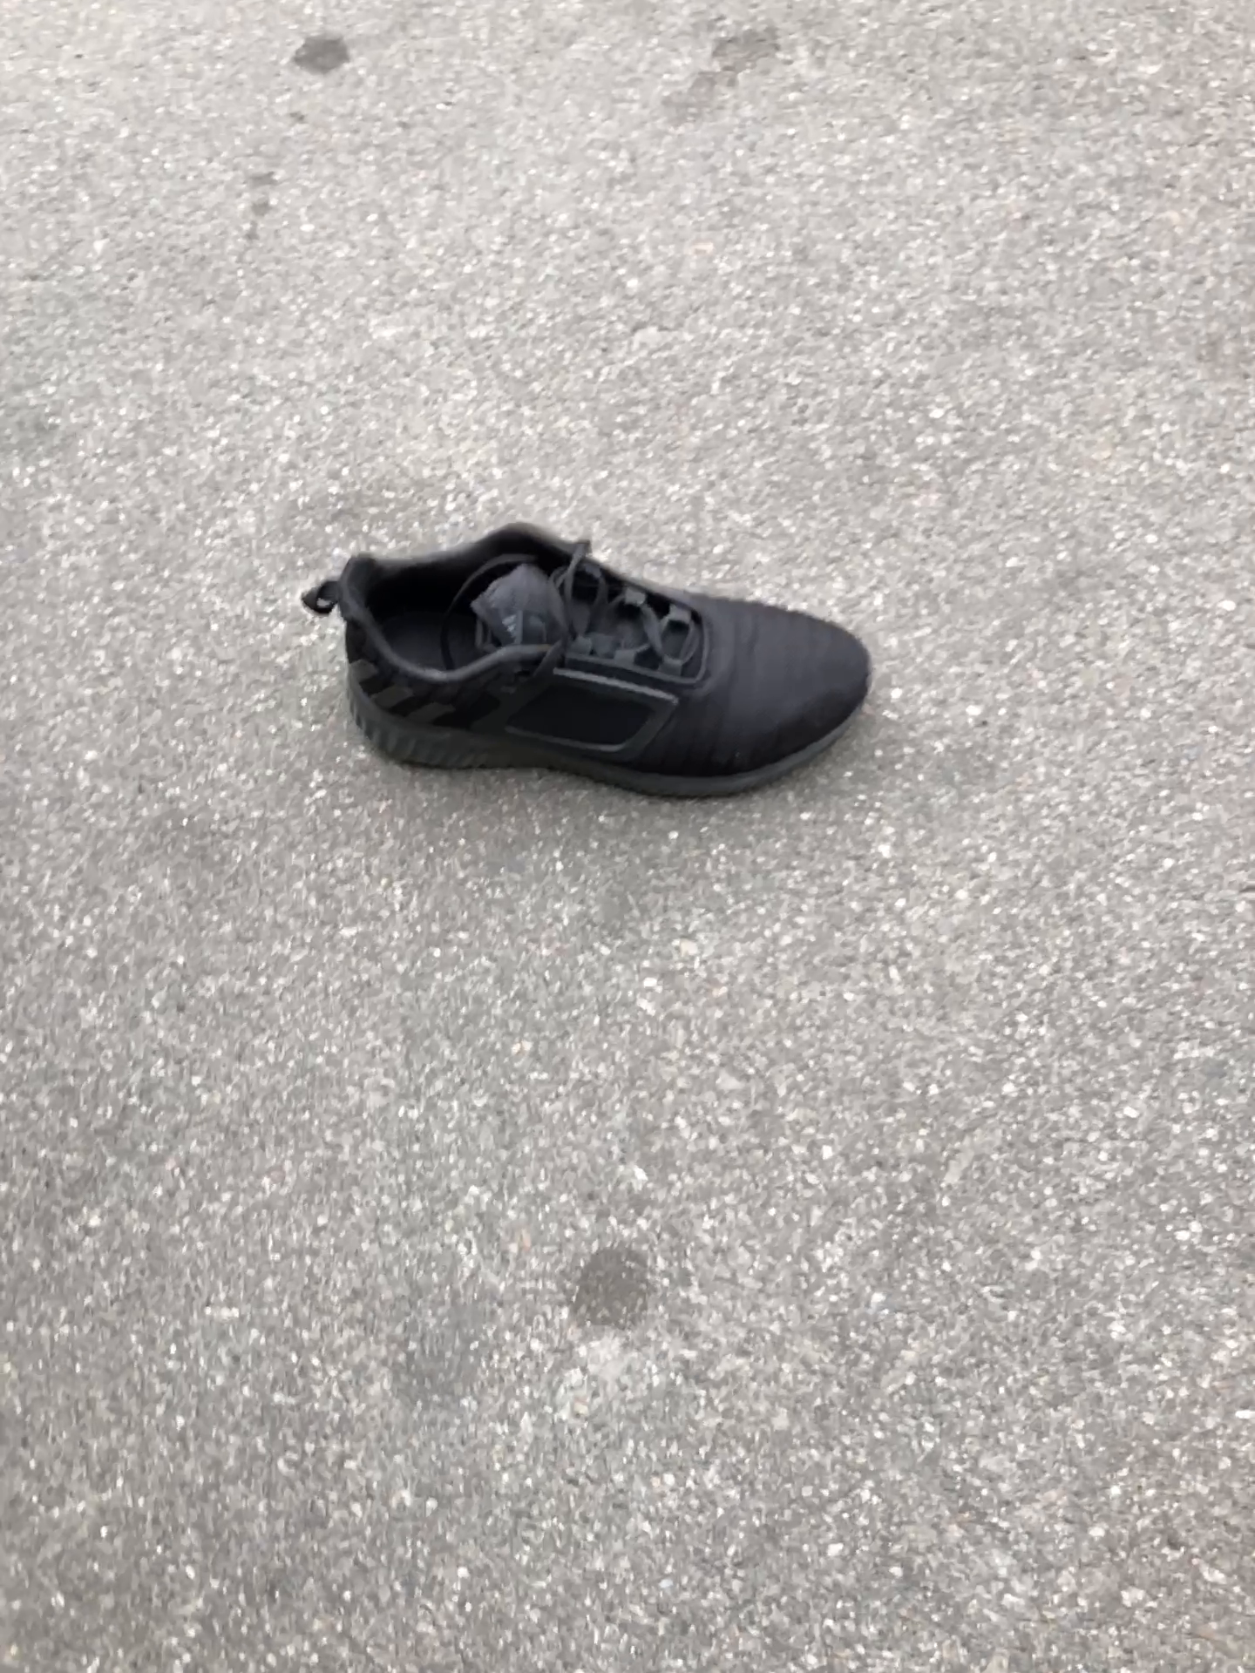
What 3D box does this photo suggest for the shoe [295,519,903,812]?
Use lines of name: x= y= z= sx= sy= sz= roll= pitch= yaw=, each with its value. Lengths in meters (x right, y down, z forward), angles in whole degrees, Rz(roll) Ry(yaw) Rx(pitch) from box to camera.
shoe: x=-0.007 y=-0.085 z=0.698 sx=0.280 sy=0.110 sz=0.100 roll=2 pitch=66 yaw=7
